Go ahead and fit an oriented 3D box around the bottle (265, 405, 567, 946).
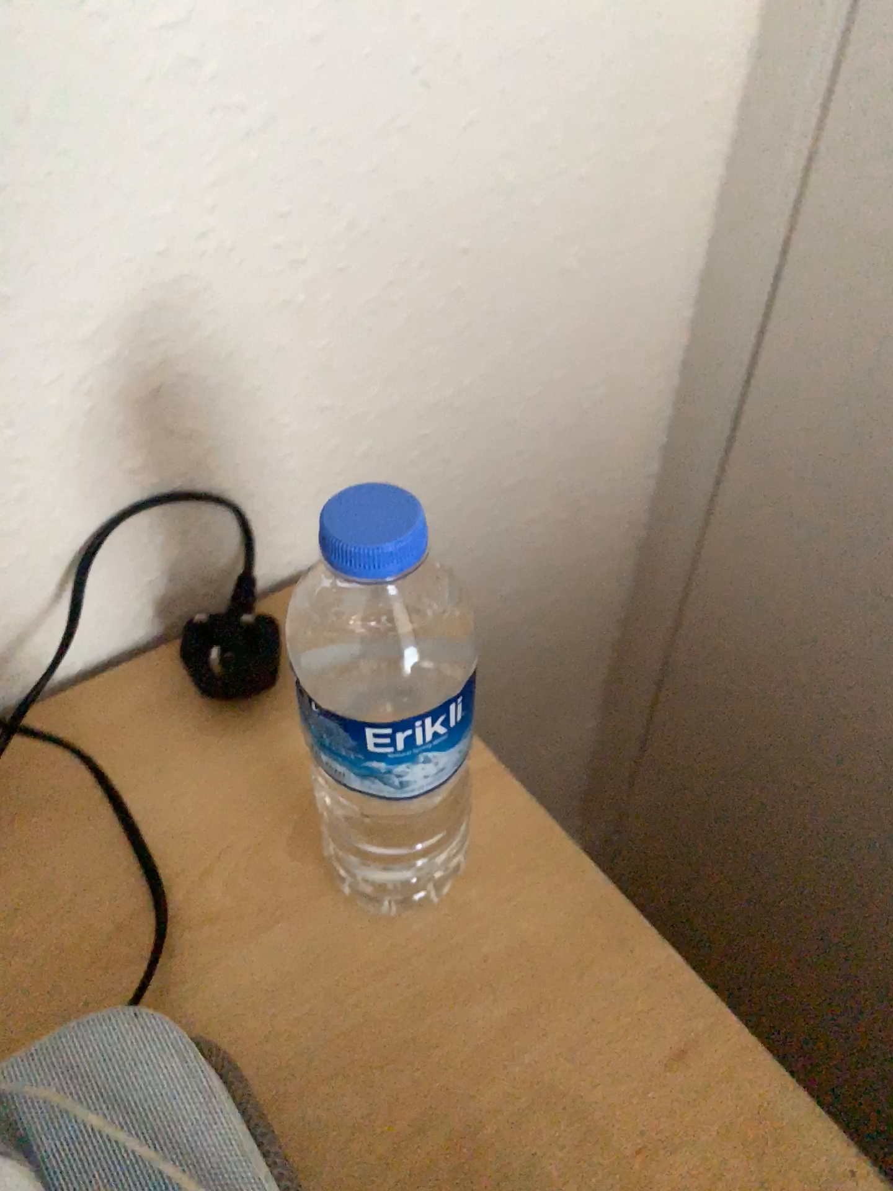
[{"bbox_3d":[-0.014,0.037,0.330,0.070,0.188,0.071,1,42,-1],"label":"bottle"}]
